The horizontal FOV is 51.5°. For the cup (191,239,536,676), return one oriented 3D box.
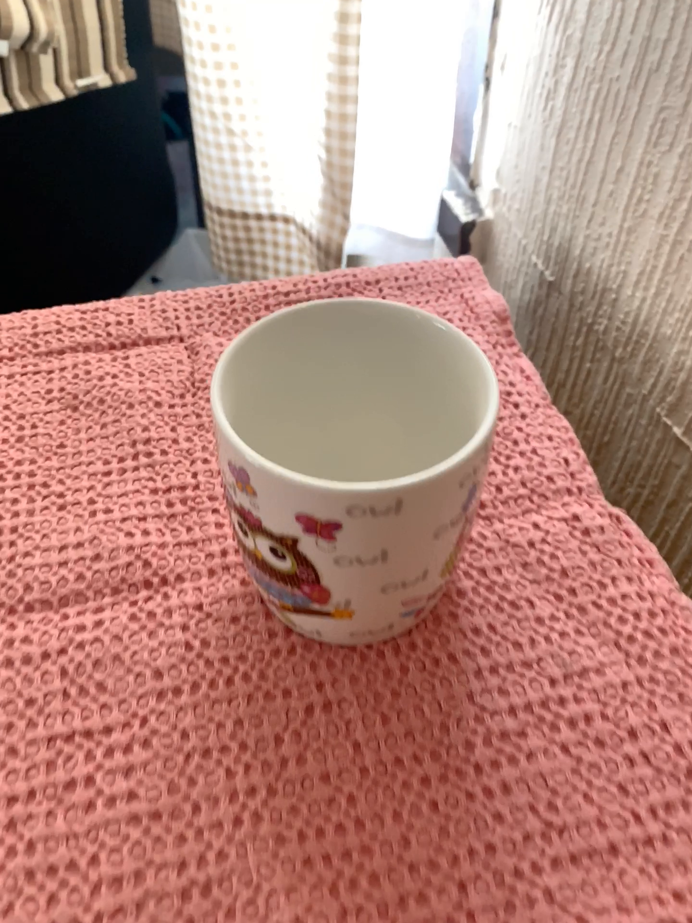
[{"bbox_3d":[-0.003,-0.005,0.258,0.090,0.089,0.121,-6,47,-5],"label":"cup"}]
